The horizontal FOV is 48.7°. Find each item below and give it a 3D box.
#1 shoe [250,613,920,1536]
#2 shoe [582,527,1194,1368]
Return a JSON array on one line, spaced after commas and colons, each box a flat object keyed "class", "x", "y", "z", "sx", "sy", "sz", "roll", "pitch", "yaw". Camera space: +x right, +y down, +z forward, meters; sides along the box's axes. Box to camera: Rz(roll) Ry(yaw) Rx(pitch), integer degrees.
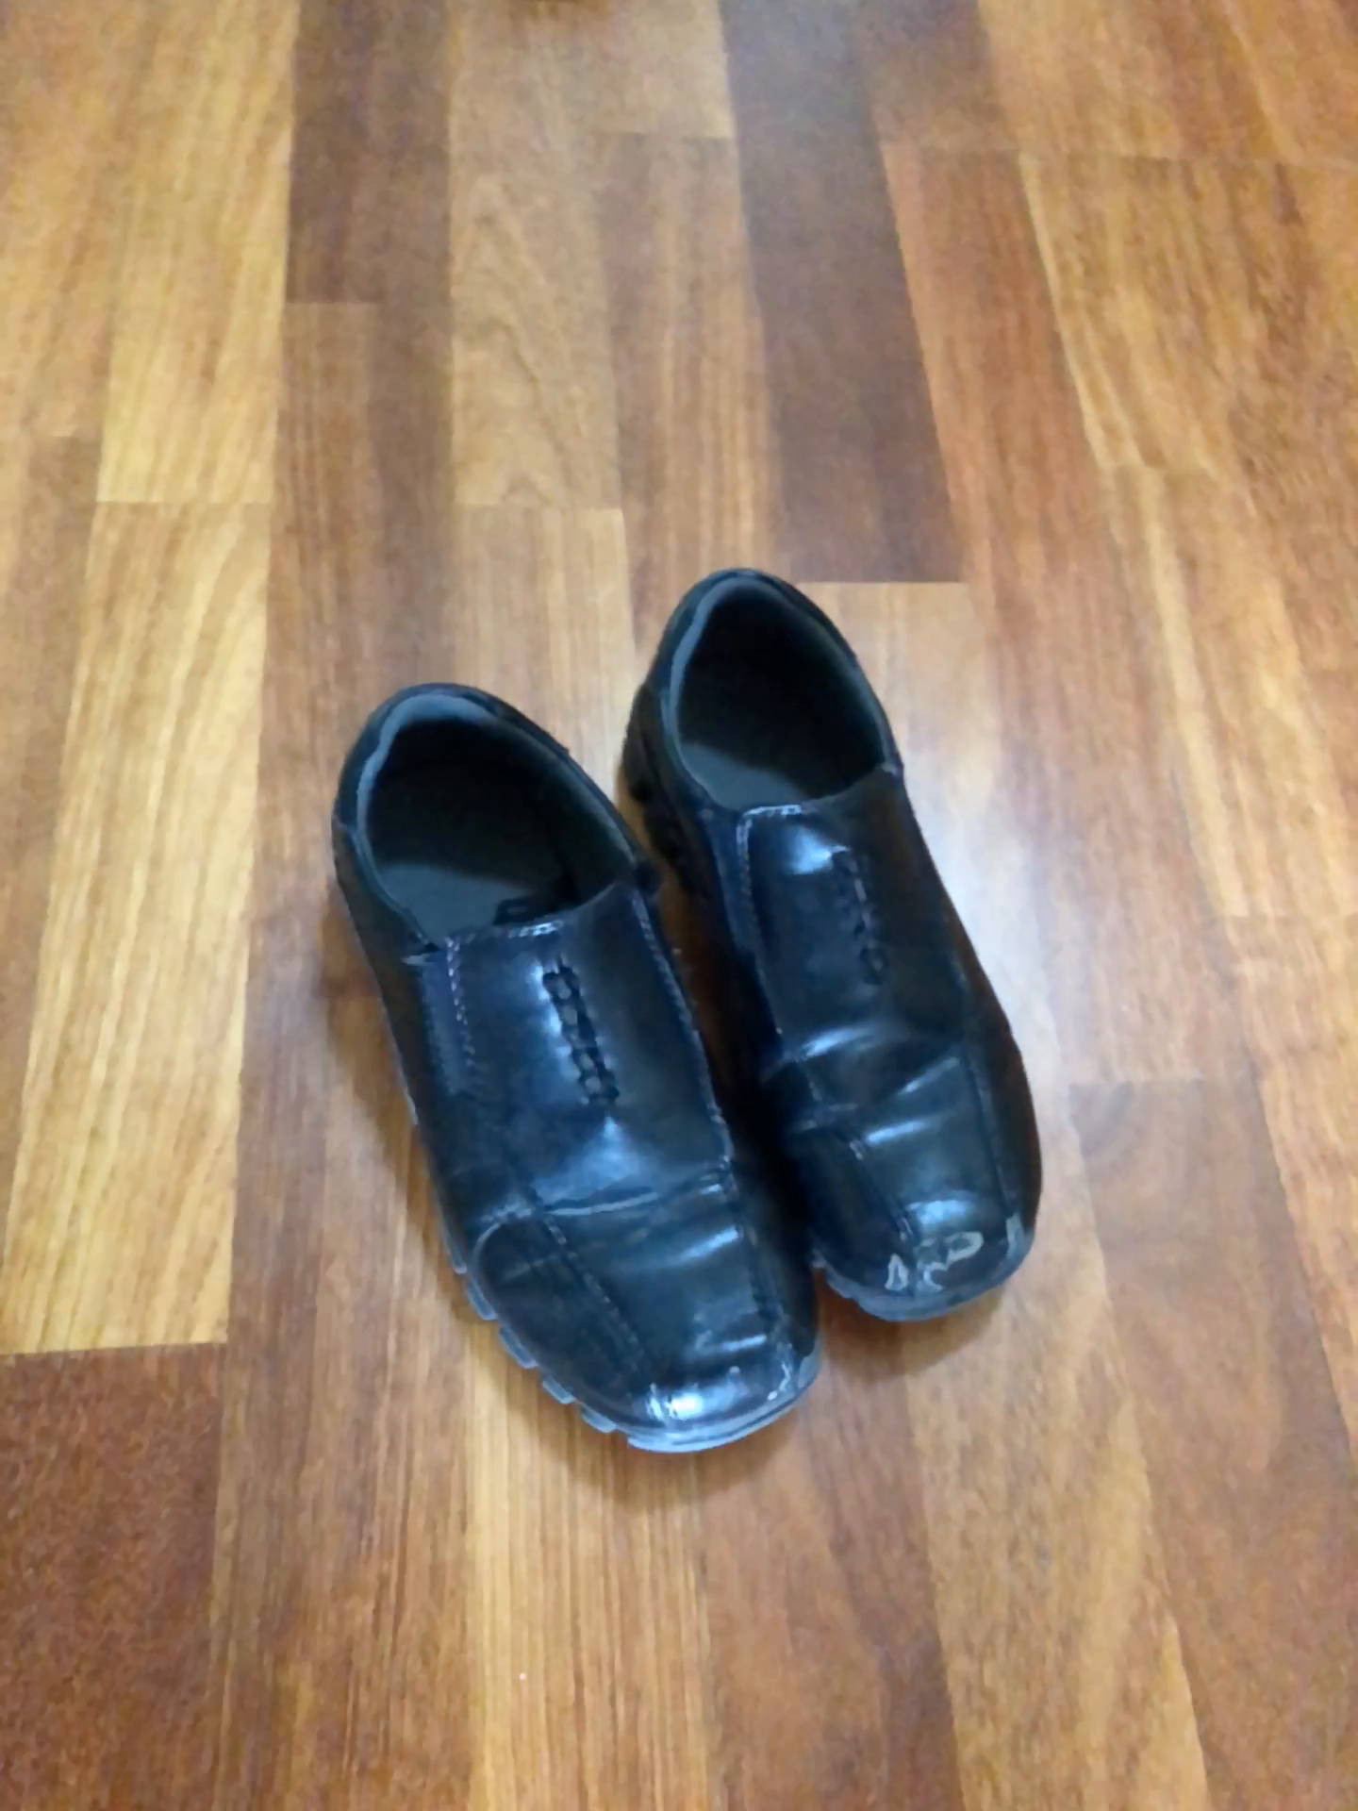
[{"class": "shoe", "x": -0.036, "y": 0.041, "z": 0.427, "sx": 0.094, "sy": 0.075, "sz": 0.233, "roll": -19, "pitch": 67, "yaw": -16}, {"class": "shoe", "x": 0.050, "y": 0.006, "z": 0.458, "sx": 0.091, "sy": 0.075, "sz": 0.233, "roll": -14, "pitch": 66, "yaw": -14}]
